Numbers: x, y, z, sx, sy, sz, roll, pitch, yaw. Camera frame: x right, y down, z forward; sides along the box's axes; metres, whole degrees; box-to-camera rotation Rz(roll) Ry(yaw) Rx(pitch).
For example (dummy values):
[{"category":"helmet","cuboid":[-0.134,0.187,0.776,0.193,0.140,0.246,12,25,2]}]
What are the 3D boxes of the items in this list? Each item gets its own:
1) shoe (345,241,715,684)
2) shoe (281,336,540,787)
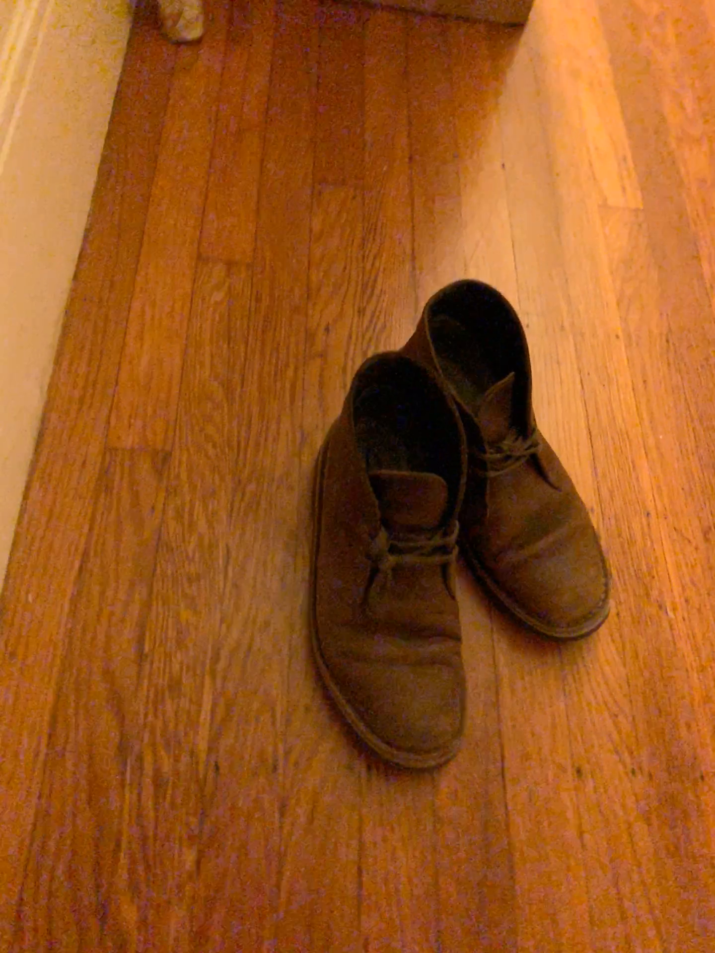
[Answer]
[{"category":"shoe","cuboid":[0.120,-0.015,0.563,0.120,0.120,0.301,-23,69,-18]},{"category":"shoe","cuboid":[0.019,0.055,0.523,0.120,0.120,0.291,-3,64,-10]}]
